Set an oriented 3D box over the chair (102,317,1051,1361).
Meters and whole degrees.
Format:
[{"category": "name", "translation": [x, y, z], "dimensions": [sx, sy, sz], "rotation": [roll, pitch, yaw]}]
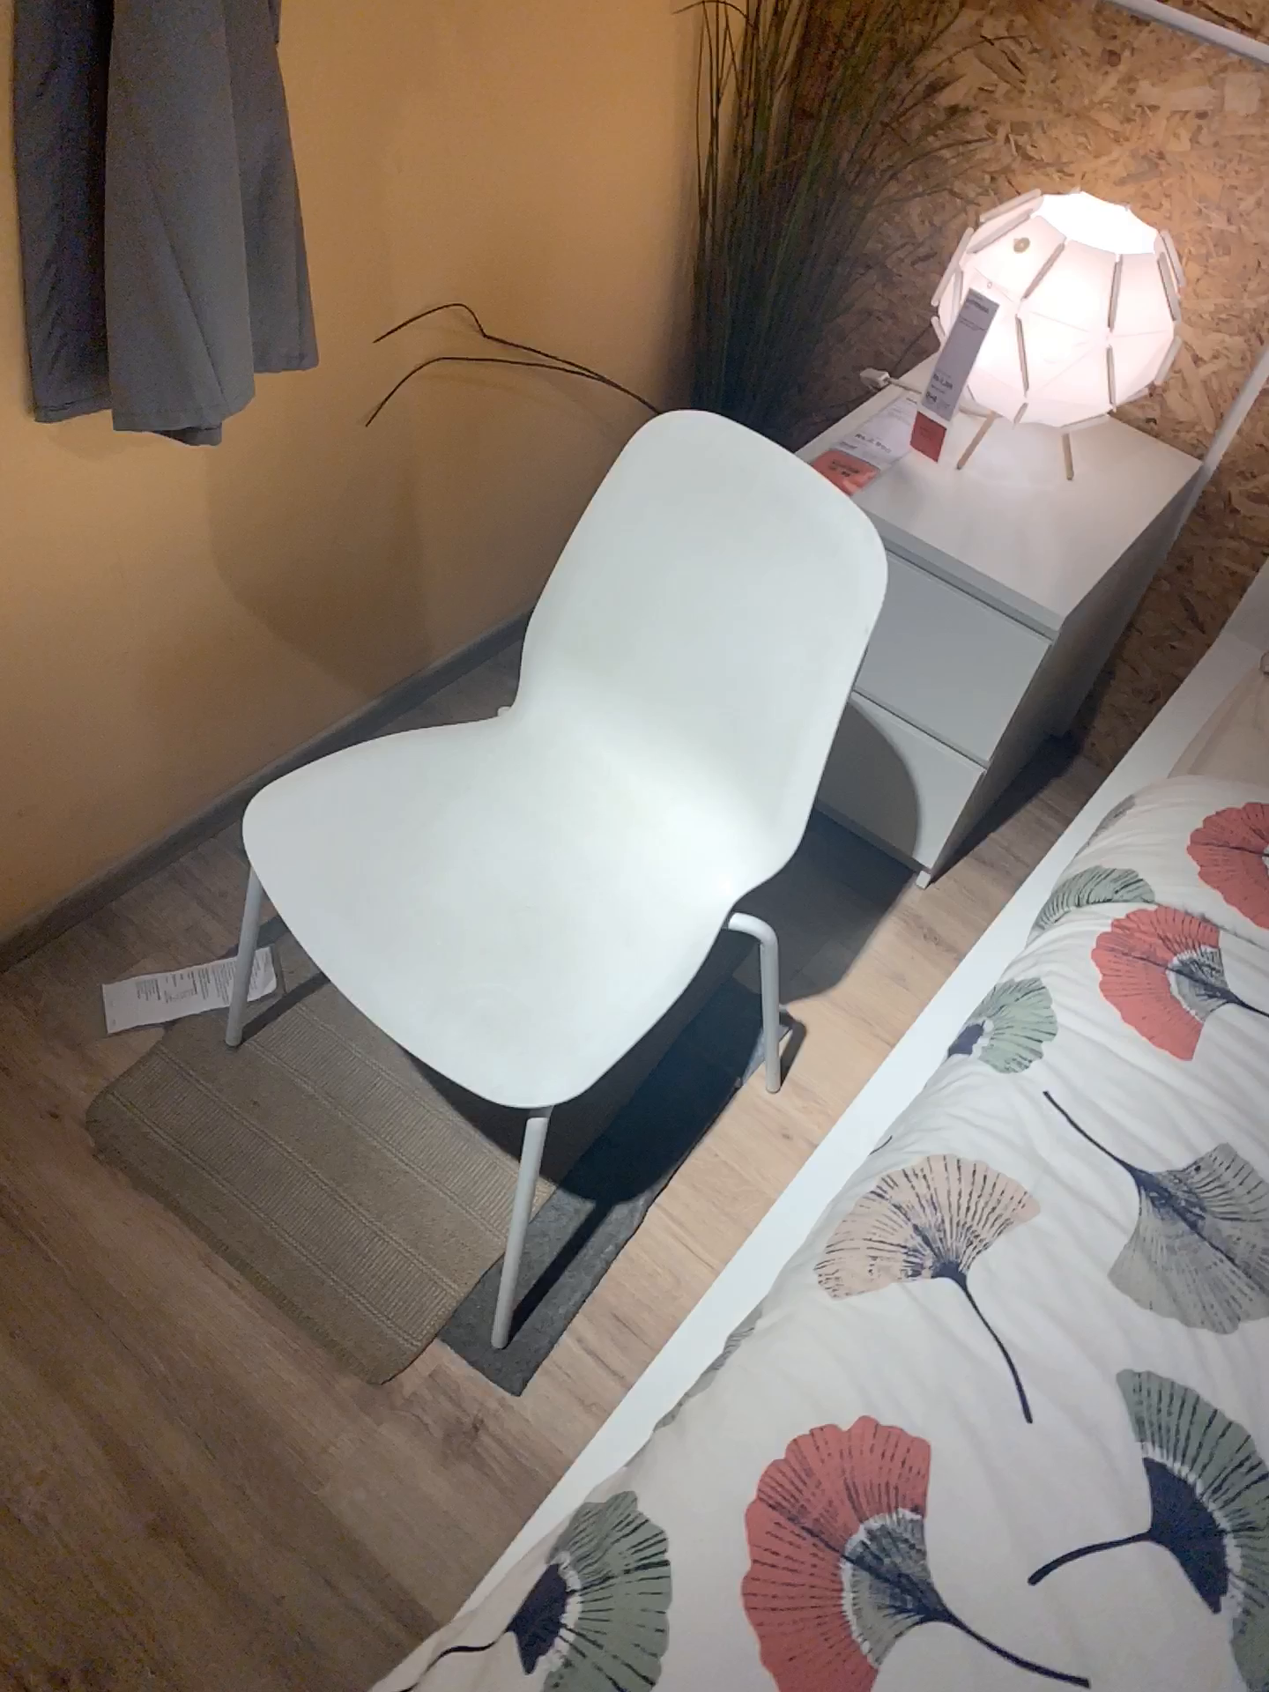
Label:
[{"category": "chair", "translation": [-0.084, 0.004, 1.335], "dimensions": [0.541, 0.758, 0.561], "rotation": [40, 54, 22]}]
